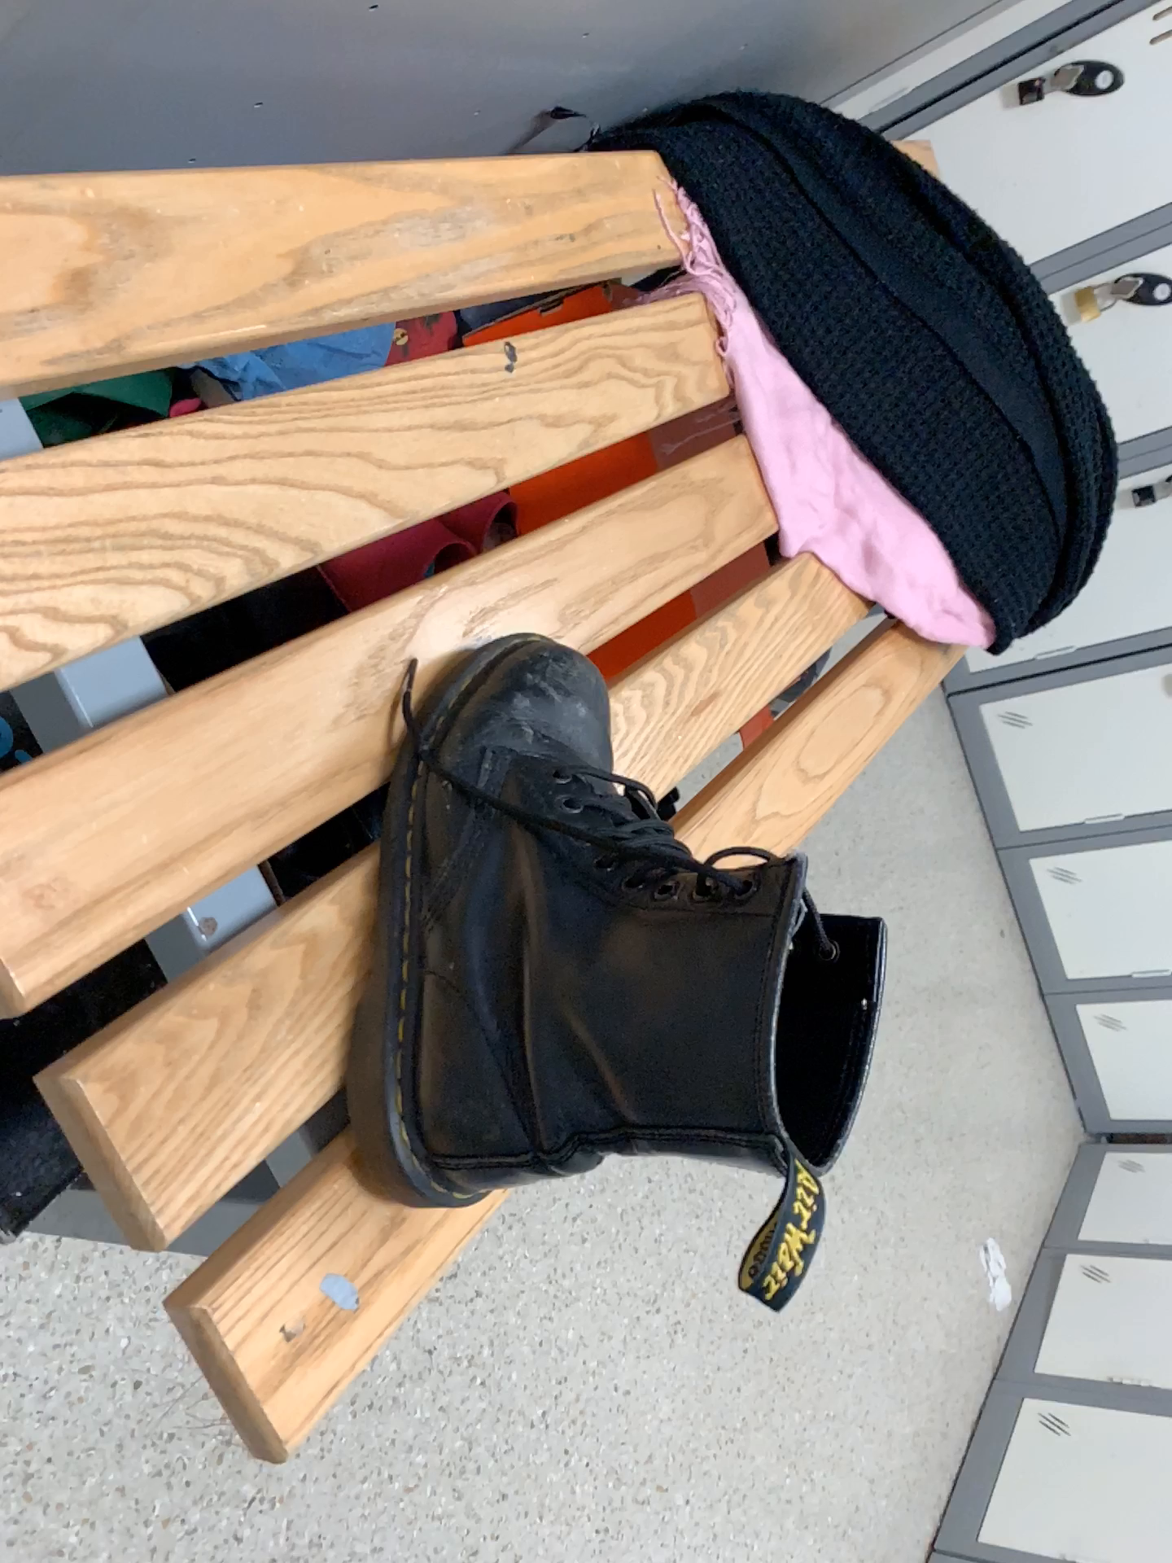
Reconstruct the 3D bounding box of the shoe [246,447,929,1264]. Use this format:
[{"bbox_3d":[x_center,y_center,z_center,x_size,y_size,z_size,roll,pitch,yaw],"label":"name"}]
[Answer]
[{"bbox_3d":[0.010,0.033,0.470,0.107,0.199,0.262,38,52,-39],"label":"shoe"}]
